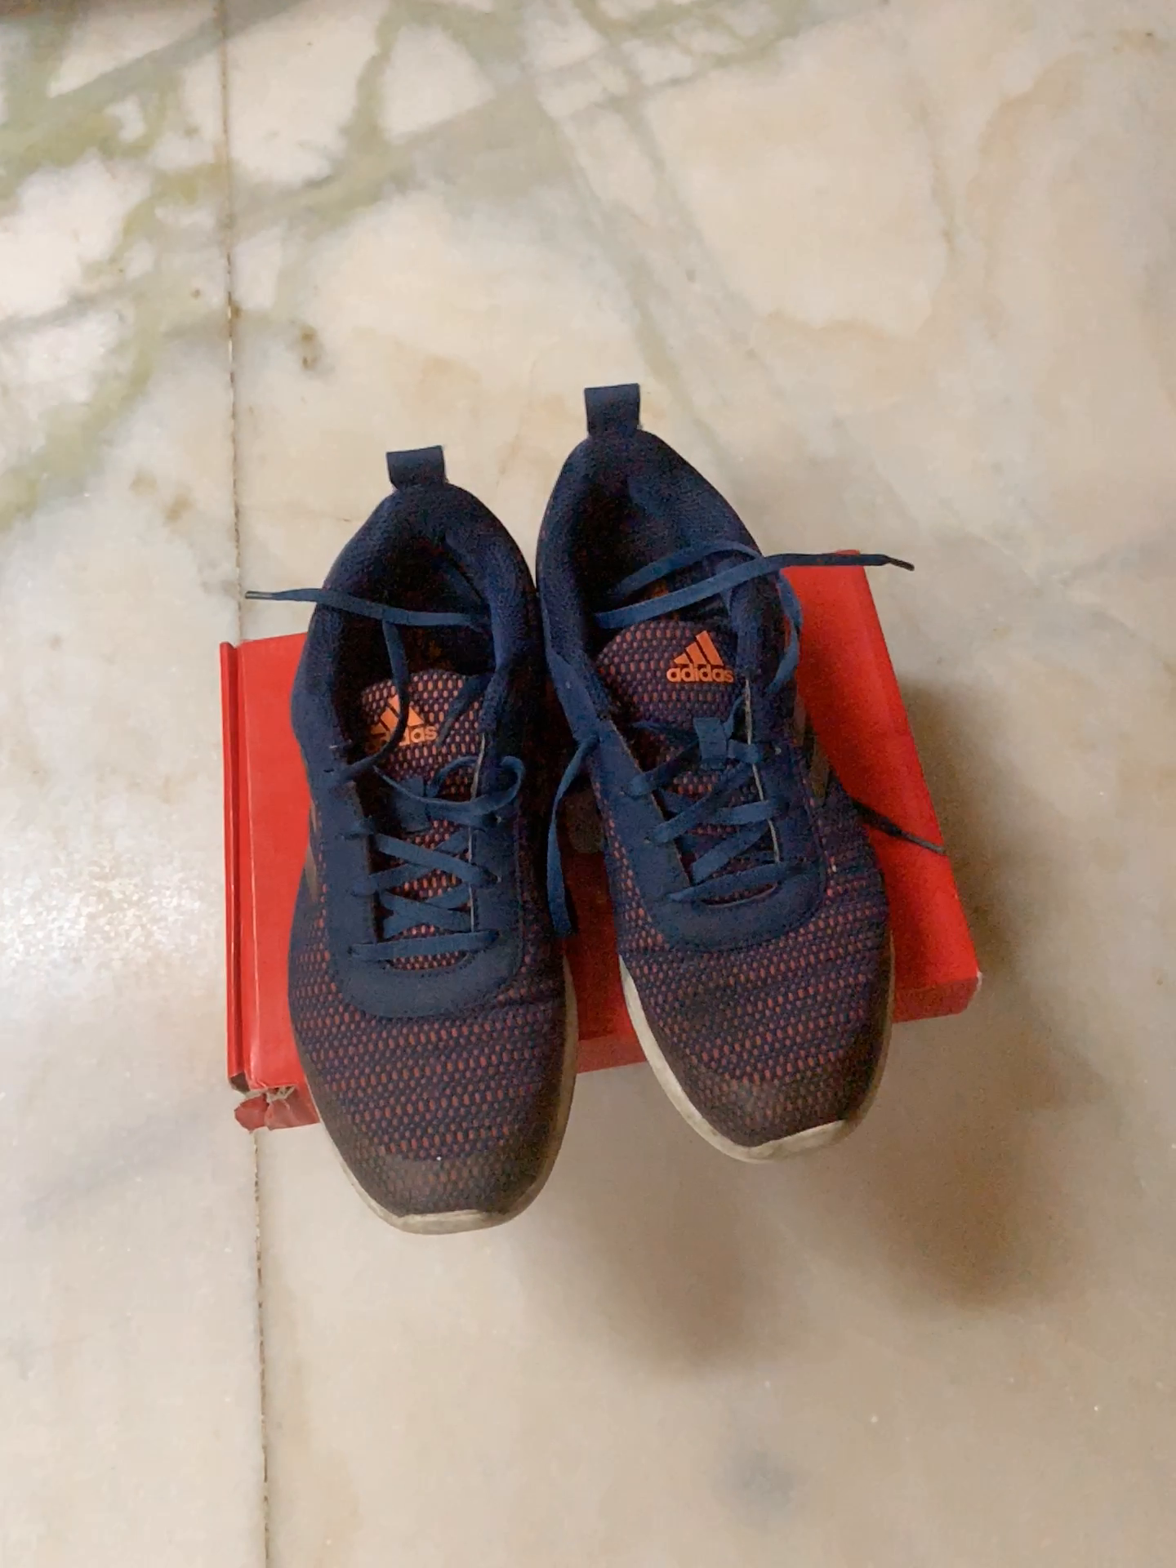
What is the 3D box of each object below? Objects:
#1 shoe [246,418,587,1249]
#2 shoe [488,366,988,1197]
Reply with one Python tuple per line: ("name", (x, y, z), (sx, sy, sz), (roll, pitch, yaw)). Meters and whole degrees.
("shoe", (-0.063, 0.015, 0.471), (0.100, 0.100, 0.301), (-5, 67, 1))
("shoe", (0.041, -0.007, 0.441), (0.100, 0.080, 0.281), (-12, 68, -2))
